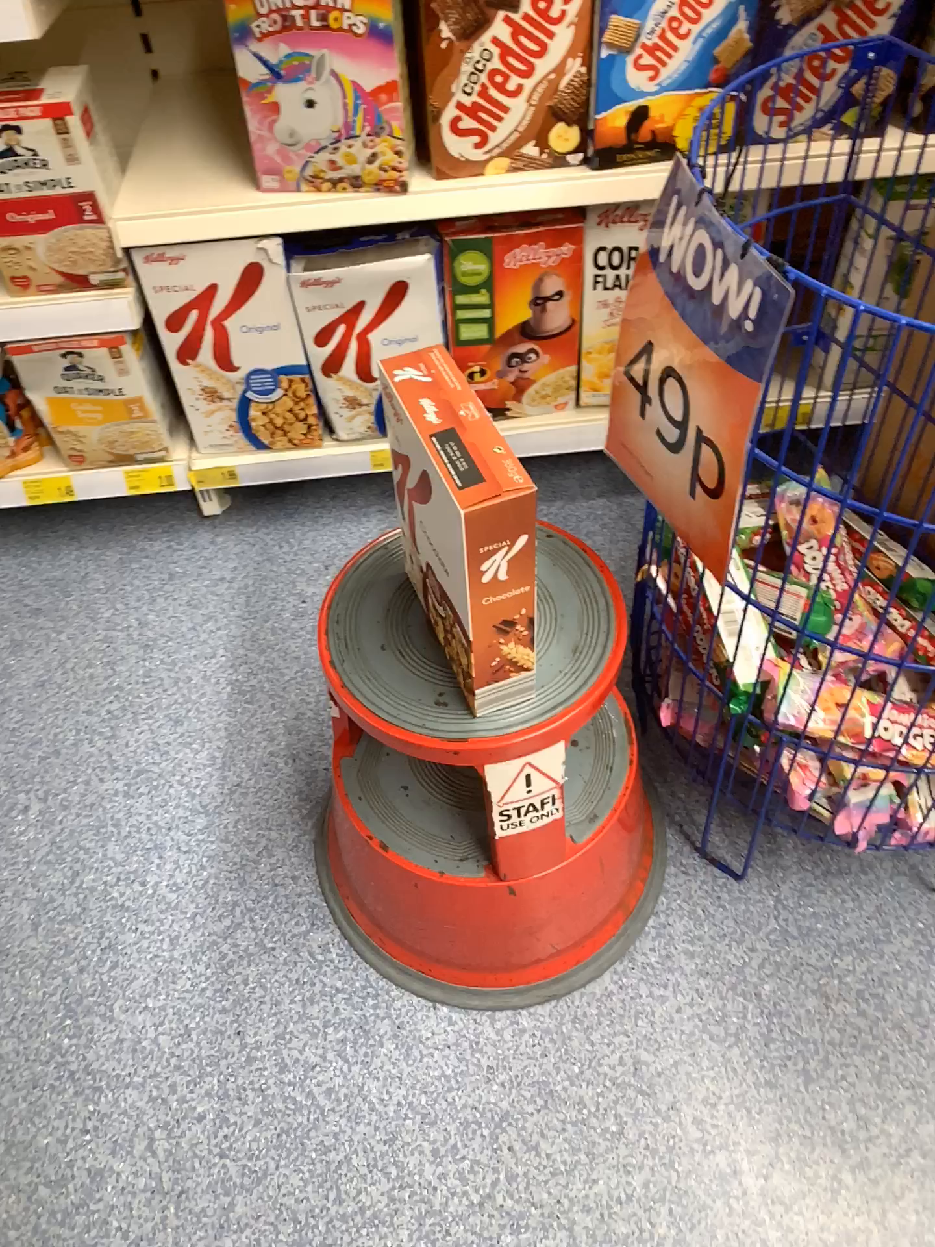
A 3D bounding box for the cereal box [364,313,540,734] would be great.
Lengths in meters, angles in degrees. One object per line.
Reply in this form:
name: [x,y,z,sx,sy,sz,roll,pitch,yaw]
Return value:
cereal box: [-0.011,-0.076,0.786,0.060,0.268,0.212,-17,50,-11]
